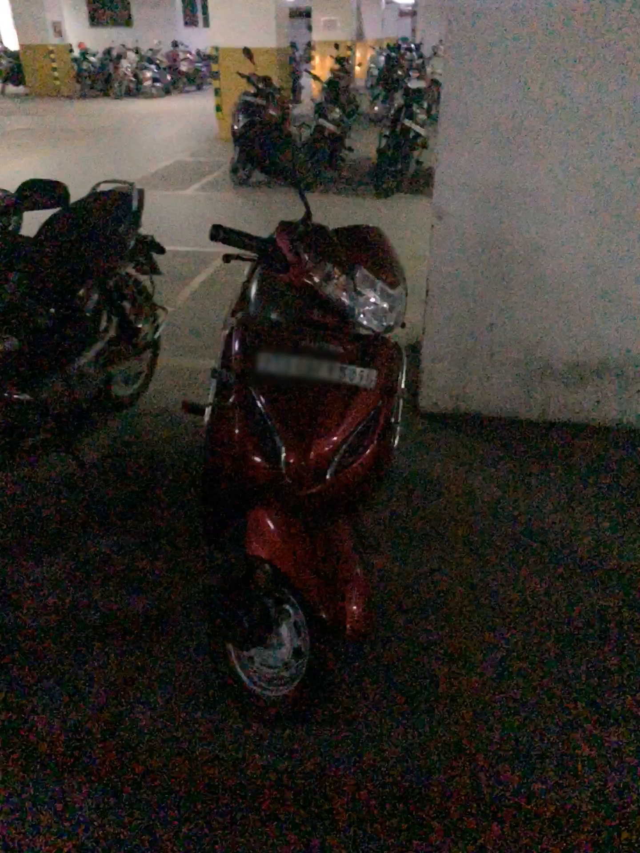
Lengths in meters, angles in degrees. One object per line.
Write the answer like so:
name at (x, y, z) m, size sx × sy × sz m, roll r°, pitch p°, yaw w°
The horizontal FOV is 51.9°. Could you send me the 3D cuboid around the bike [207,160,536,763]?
bike at (0.020, -0.030, 1.957) m, size 0.486 × 0.909 × 1.397 m, roll -7°, pitch 40°, yaw -10°
